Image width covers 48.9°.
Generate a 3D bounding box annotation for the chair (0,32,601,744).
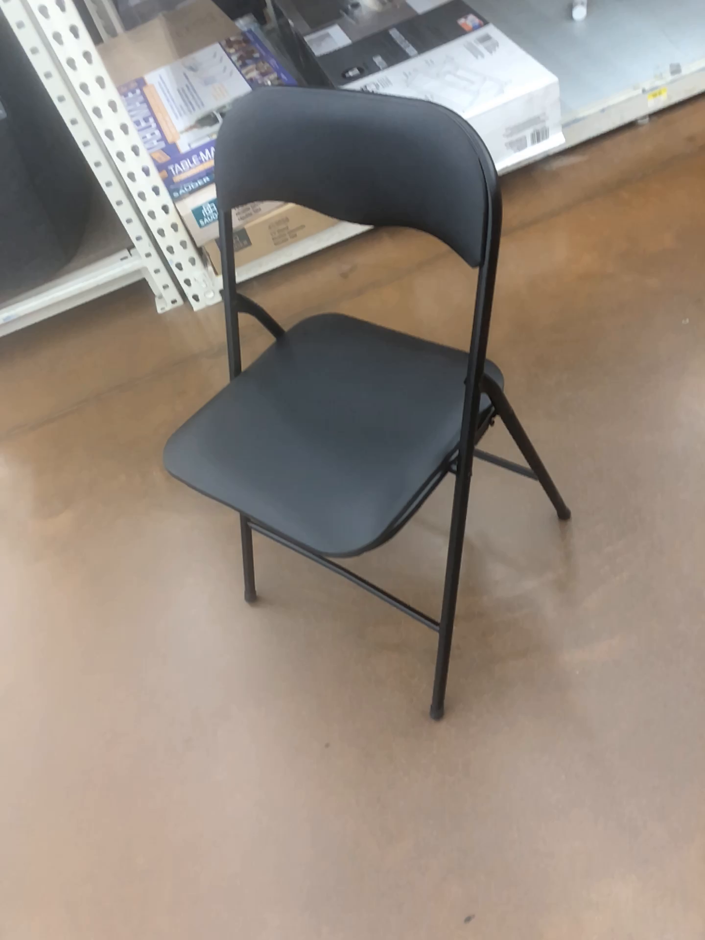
[{"bbox_3d":[-0.020,-0.097,1.093,0.522,0.758,0.490,24,63,34],"label":"chair"}]
